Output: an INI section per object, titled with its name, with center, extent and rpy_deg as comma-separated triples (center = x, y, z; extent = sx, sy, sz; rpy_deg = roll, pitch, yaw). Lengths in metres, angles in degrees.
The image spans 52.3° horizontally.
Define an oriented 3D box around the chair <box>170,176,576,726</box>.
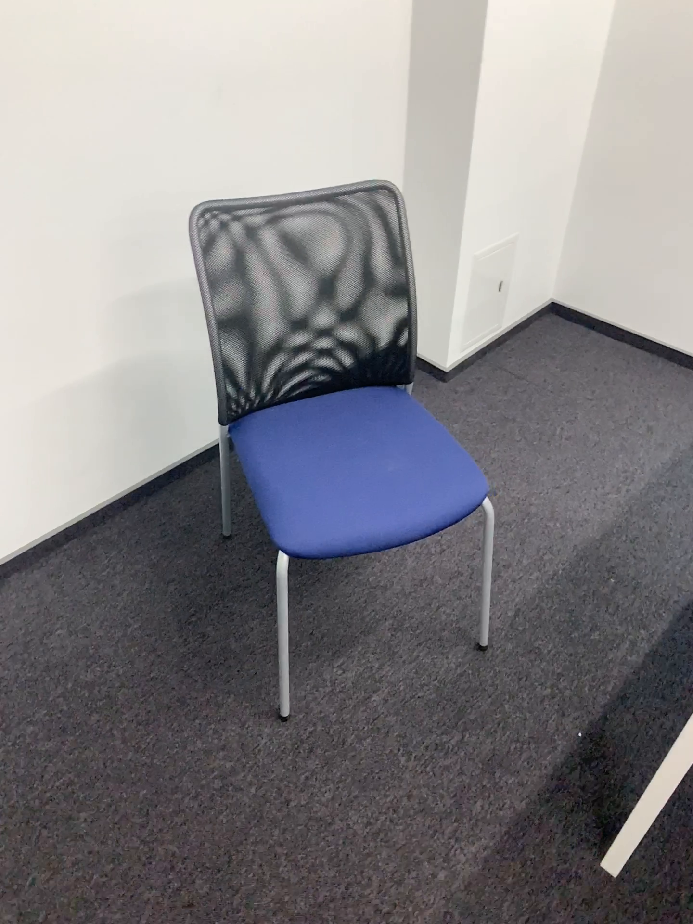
[chair]
center = -0.001, -0.021, 1.451
extent = 0.490, 0.865, 0.593
rpy_deg = -13, 42, -16
